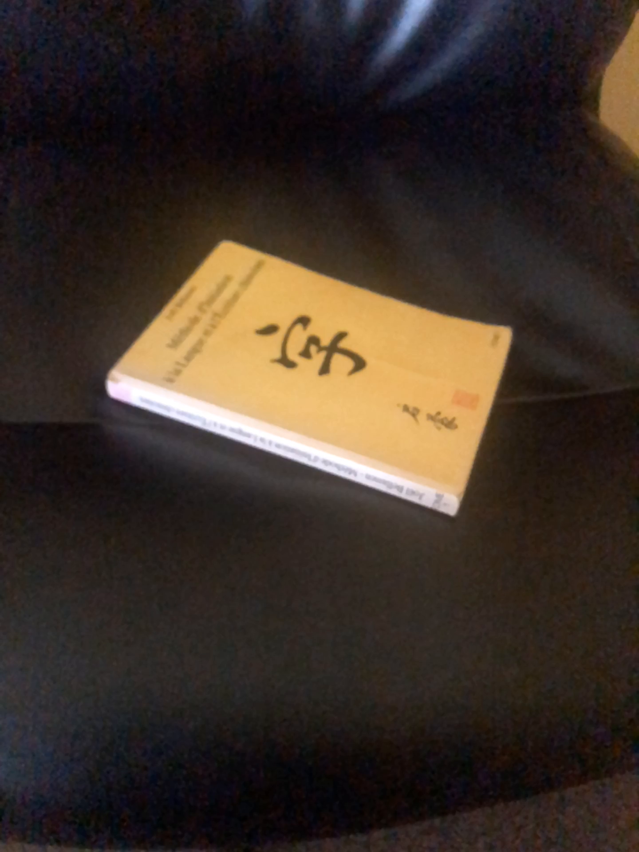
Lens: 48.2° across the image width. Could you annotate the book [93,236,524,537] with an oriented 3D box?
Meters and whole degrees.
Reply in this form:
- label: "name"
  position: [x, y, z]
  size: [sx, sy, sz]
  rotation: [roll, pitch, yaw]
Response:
- label: "book"
  position: [-0.001, -0.037, 0.445]
  size: [0.220, 0.028, 0.153]
  rotation: [19, 52, 13]
